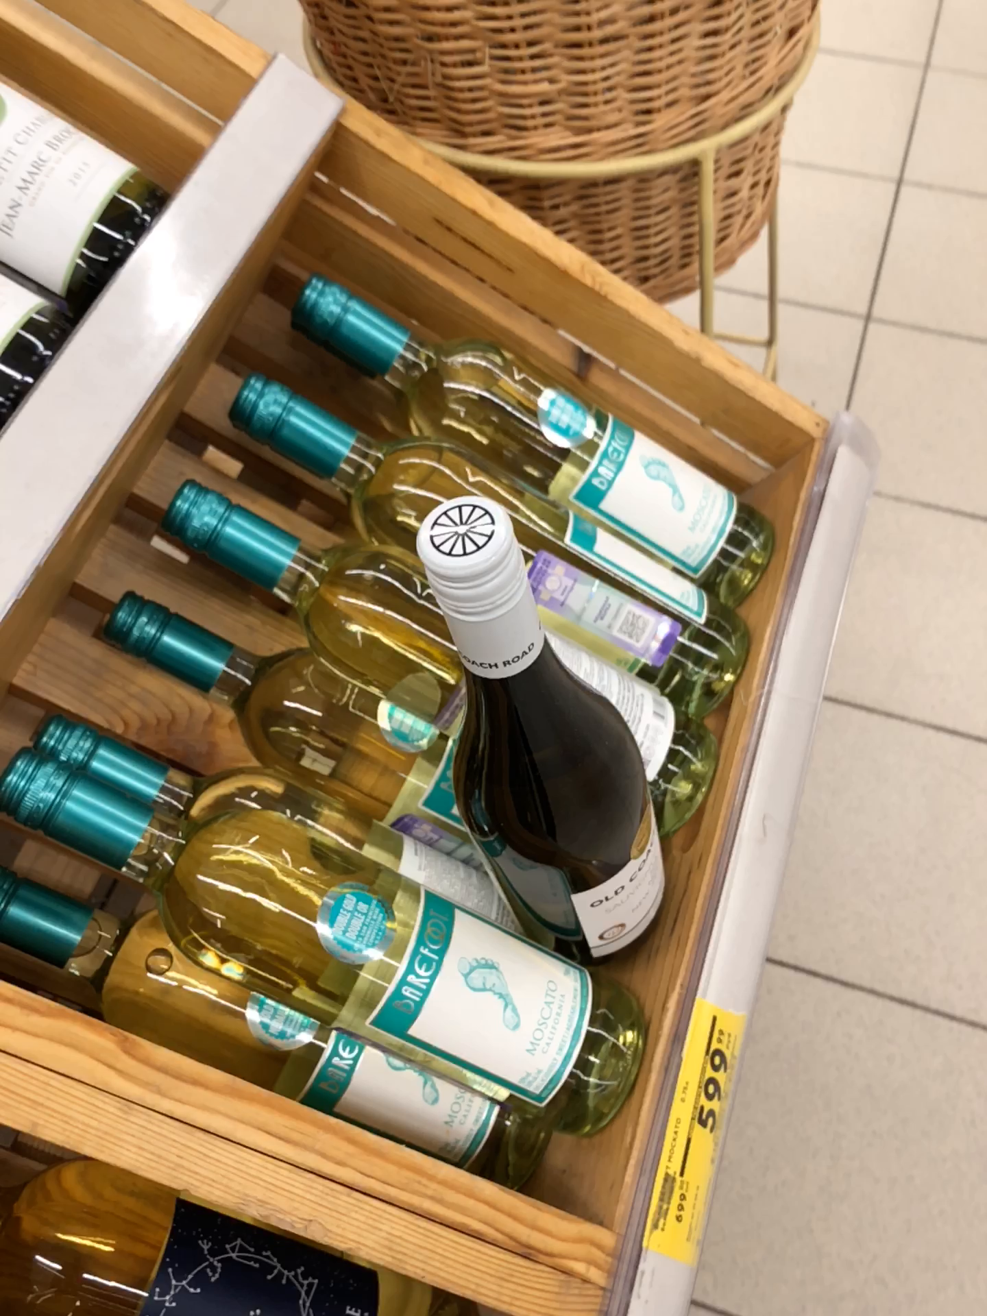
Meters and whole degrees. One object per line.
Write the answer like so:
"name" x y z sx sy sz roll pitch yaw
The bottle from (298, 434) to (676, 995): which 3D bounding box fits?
"bottle" 0.019 0.046 0.442 0.088 0.291 0.078 12 61 17
